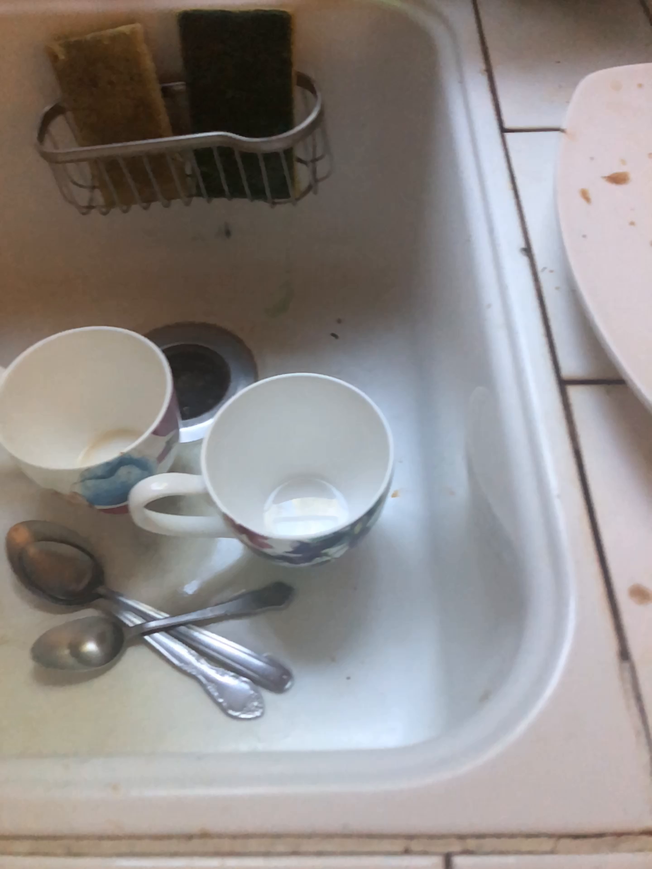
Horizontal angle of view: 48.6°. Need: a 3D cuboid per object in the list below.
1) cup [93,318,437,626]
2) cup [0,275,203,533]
[{"bbox_3d":[-0.034,0.018,0.398,0.150,0.070,0.111,-17,59,-10],"label":"cup"},{"bbox_3d":[-0.161,-0.020,0.421,0.140,0.070,0.101,14,59,10],"label":"cup"}]
